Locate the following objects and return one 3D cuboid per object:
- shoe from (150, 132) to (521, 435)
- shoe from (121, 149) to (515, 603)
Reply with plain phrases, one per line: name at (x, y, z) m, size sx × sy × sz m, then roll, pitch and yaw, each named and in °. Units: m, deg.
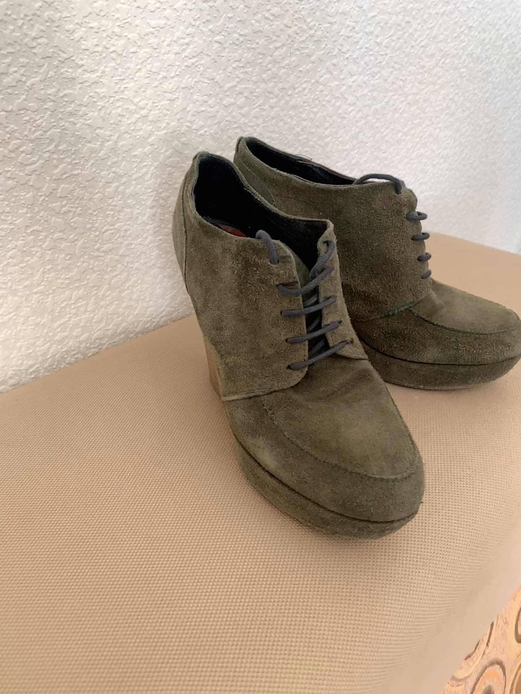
shoe at (0.059, -0.058, 0.396) m, size 0.270 × 0.139 × 0.081 m, roll 18°, pitch 39°, yaw 22°
shoe at (0.003, -0.009, 0.308) m, size 0.086 × 0.136 × 0.230 m, roll -16°, pitch 39°, yaw -23°
